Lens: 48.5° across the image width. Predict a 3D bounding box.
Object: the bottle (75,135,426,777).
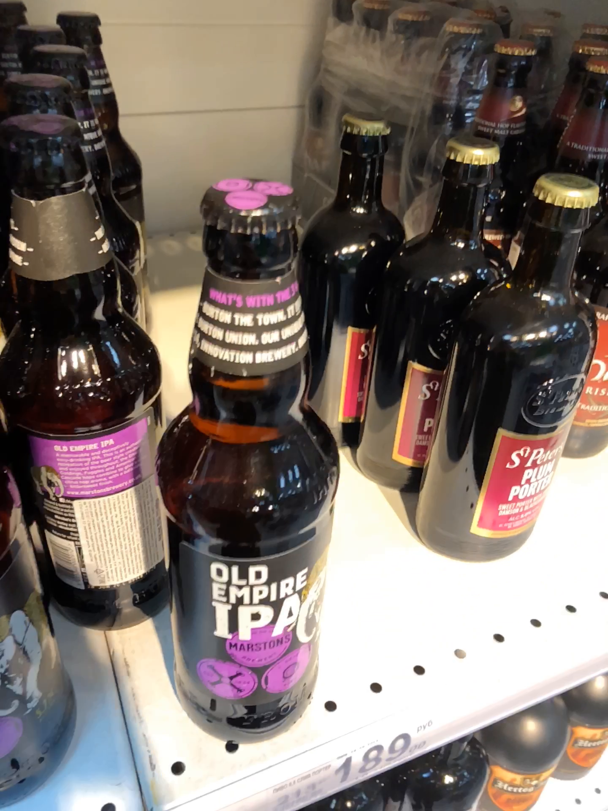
[{"bbox_3d":[-0.025,0.032,0.260,0.080,0.238,0.080,2,36,-2],"label":"bottle"}]
